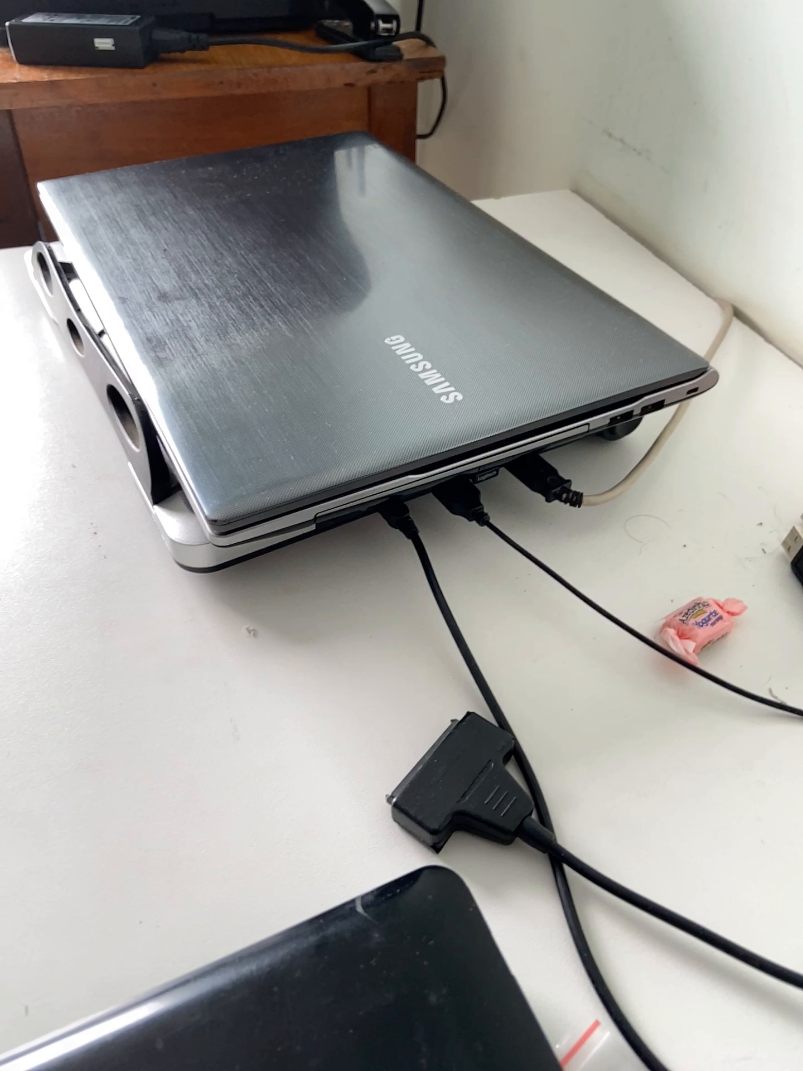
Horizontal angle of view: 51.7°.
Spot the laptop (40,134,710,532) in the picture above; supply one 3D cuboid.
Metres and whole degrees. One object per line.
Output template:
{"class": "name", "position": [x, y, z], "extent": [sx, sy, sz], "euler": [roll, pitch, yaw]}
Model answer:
{"class": "laptop", "position": [-0.048, -0.153, 0.466], "extent": [0.236, 0.005, 0.375], "euler": [-19, 46, -20]}
